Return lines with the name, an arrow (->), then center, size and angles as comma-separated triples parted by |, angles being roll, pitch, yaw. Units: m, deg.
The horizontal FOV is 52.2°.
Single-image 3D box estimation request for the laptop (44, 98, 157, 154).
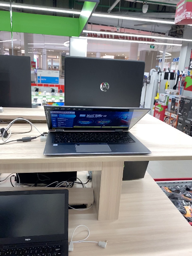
laptop -> -0.001, -0.017, 0.665 | 0.320, 0.128, 0.218 | 1, 16, -9
